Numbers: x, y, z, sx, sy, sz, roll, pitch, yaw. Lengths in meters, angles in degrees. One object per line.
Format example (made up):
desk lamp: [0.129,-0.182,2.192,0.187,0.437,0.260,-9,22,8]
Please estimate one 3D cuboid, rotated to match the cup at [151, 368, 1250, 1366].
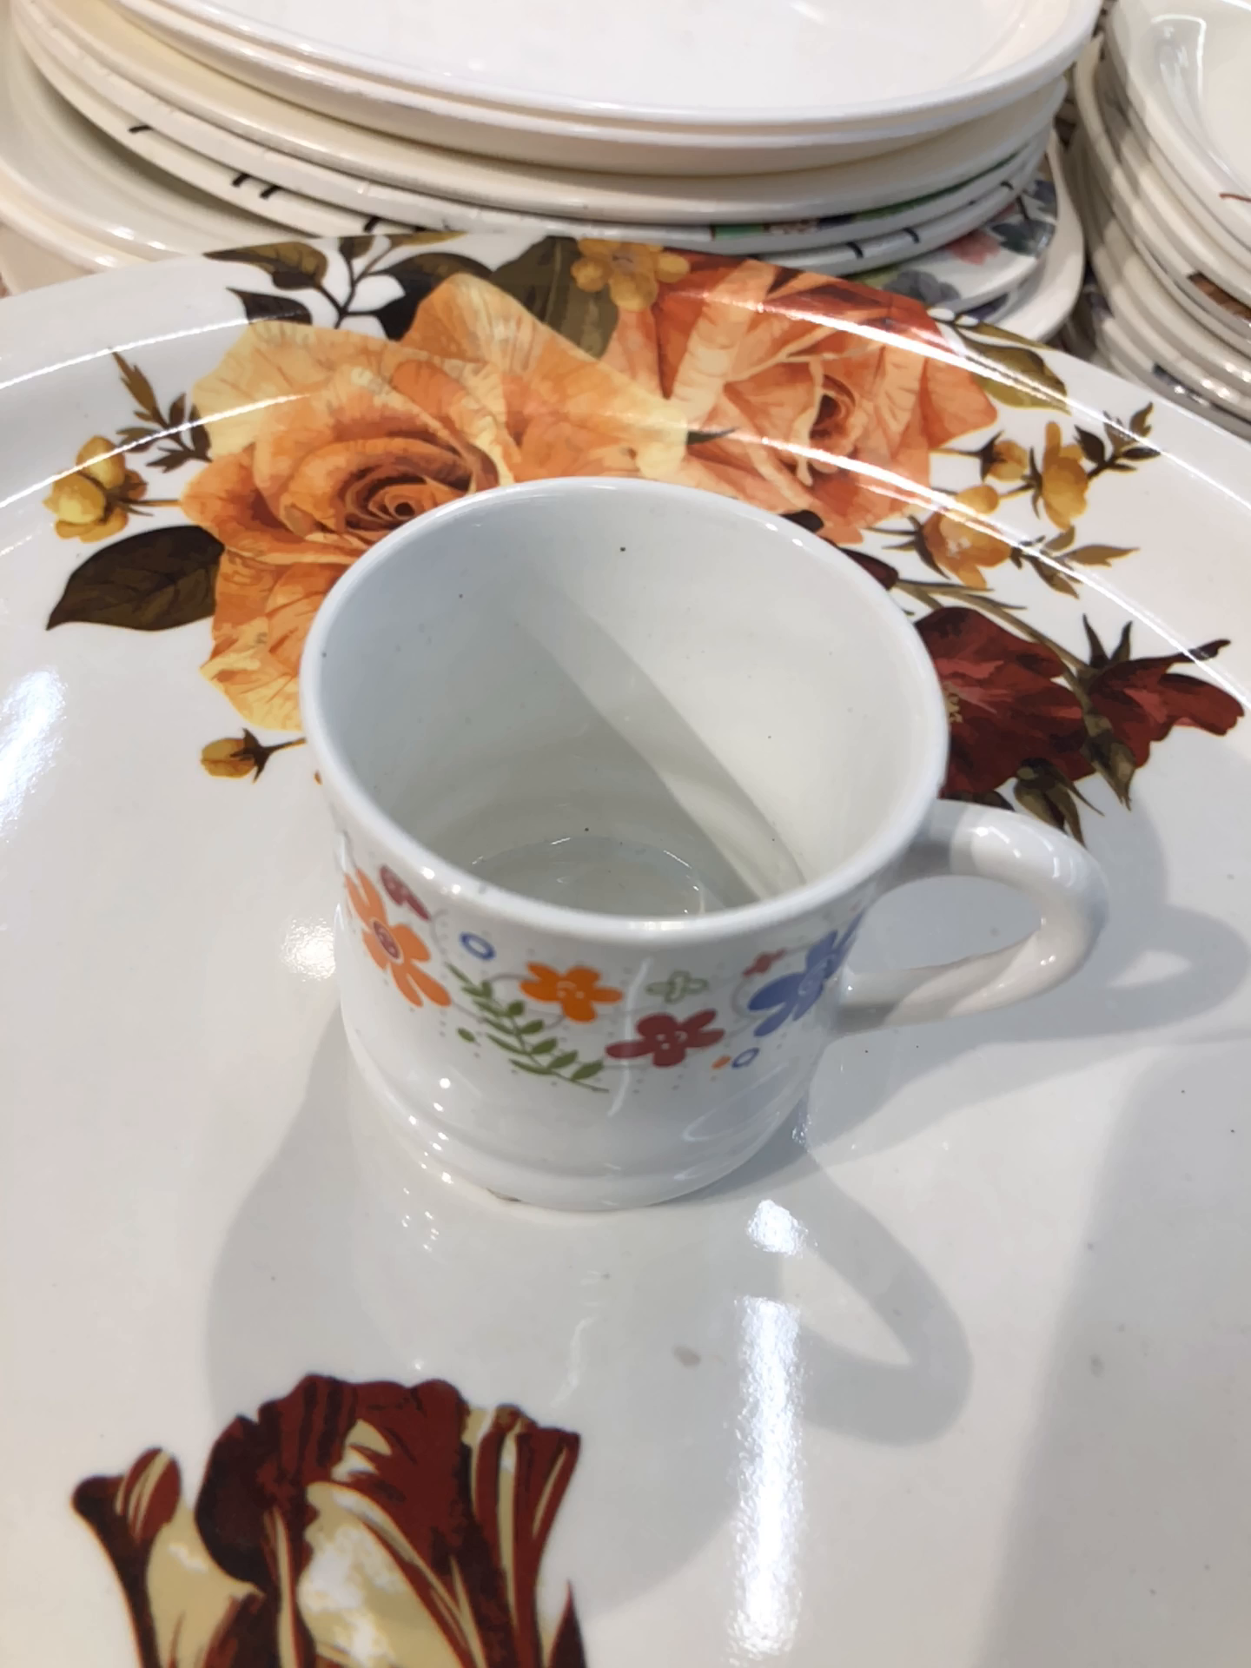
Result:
cup: [0.009,0.007,0.174,0.100,0.080,0.070,13,51,1]
